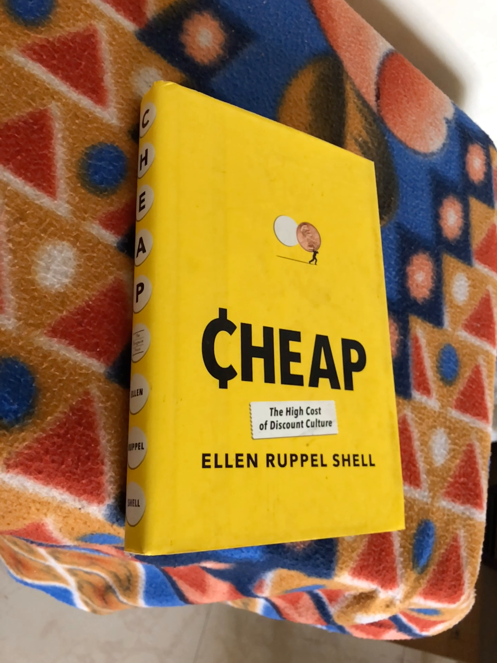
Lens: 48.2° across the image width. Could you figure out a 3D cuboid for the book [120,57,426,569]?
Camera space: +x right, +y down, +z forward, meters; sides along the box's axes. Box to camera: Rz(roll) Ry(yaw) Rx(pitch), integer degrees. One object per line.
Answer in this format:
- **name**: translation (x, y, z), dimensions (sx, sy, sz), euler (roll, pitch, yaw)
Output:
- **book**: translation (0.019, -0.009, 0.309), dimensions (0.171, 0.030, 0.240), euler (8, 73, -34)
